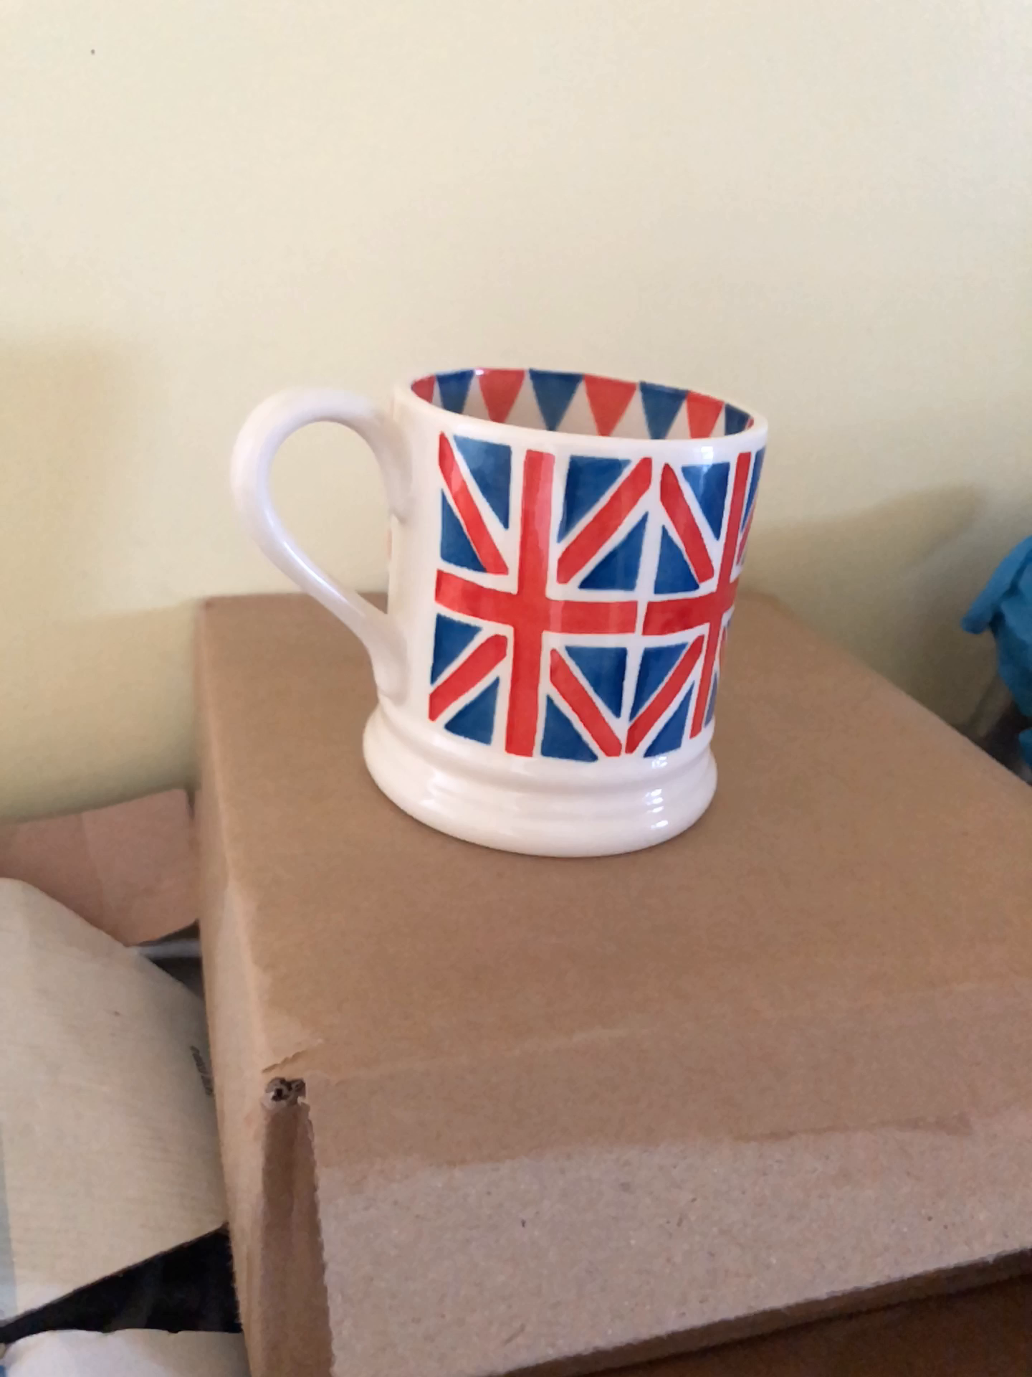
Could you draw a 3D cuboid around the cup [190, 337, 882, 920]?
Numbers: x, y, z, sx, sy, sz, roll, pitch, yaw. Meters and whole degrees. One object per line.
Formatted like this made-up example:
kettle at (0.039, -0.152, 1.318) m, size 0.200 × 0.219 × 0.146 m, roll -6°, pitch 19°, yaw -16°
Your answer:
cup at (-0.006, -0.024, 0.276) m, size 0.130 × 0.099 × 0.100 m, roll -4°, pitch 26°, yaw -16°
